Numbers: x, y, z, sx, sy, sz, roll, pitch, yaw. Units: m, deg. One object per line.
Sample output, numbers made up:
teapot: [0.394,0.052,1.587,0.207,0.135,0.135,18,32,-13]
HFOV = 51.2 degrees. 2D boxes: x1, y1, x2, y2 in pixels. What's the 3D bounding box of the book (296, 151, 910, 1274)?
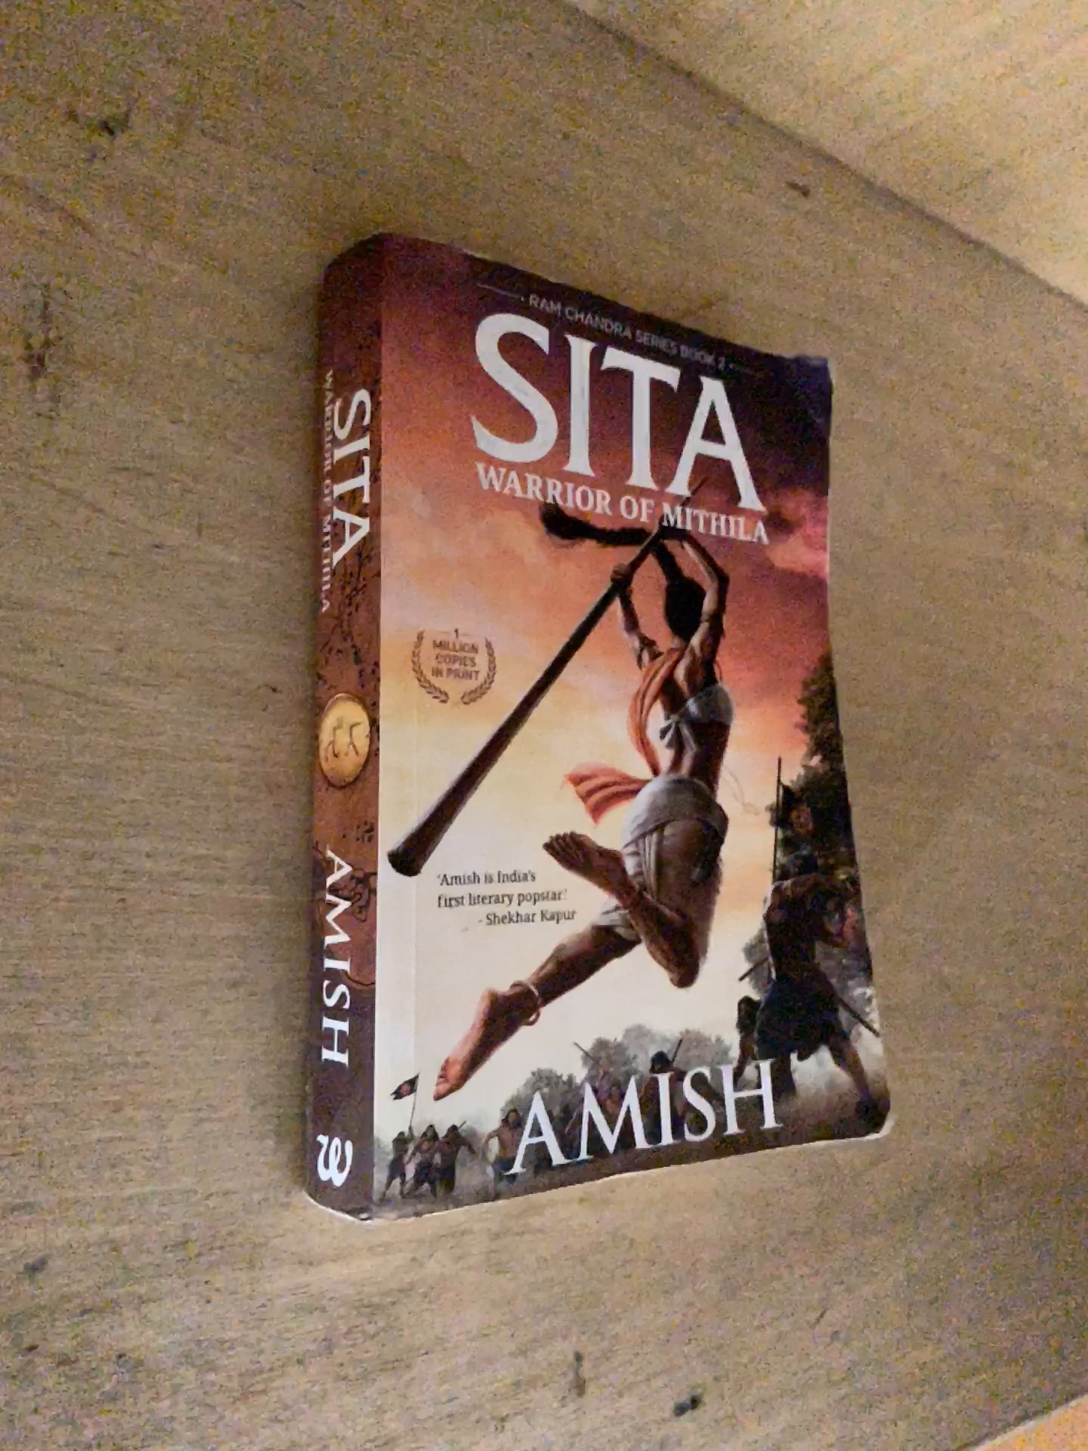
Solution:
book: [0.019,-0.003,0.252,0.141,0.030,0.200,3,83,-33]
